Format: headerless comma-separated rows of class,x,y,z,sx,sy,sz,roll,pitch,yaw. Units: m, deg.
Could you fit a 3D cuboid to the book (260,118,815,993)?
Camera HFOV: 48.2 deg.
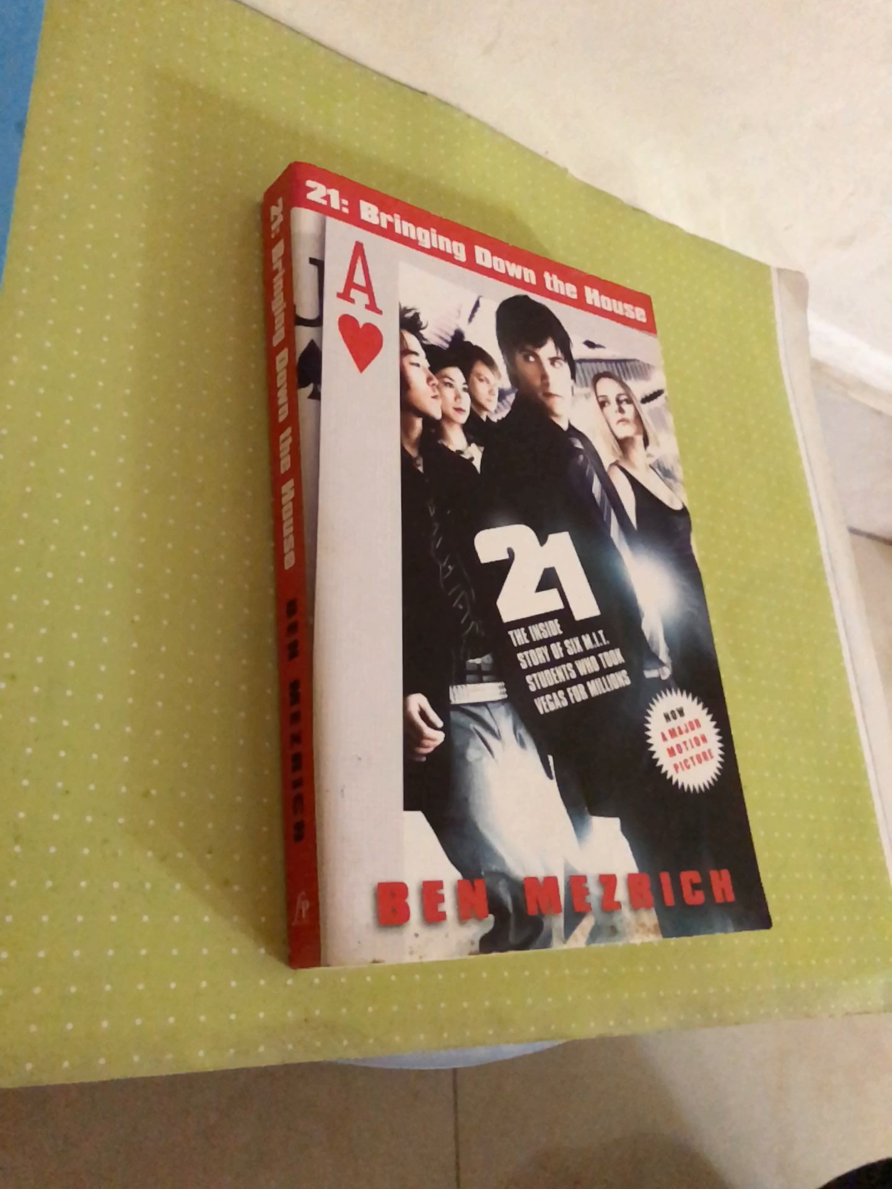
book,0.020,-0.011,0.271,0.131,0.040,0.210,8,66,-32
